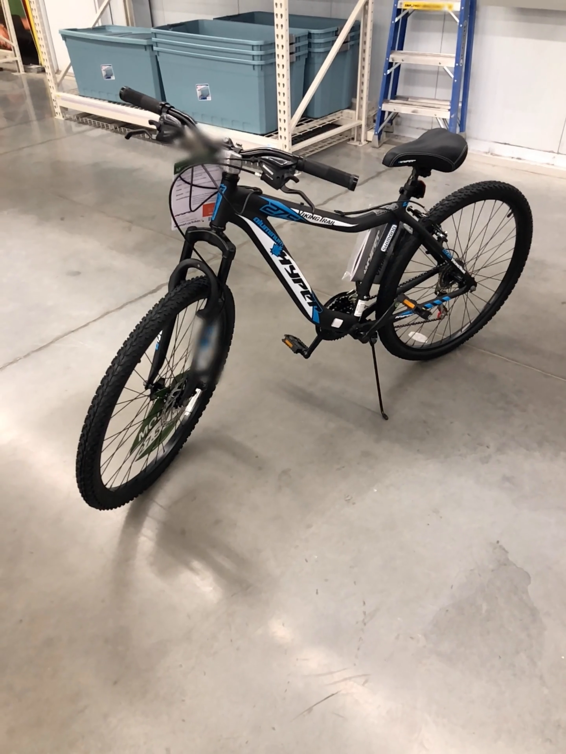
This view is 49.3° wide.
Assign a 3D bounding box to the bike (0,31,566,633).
[{"bbox_3d":[0.195,-0.265,1.721,1.636,0.986,0.574,-27,44,-29],"label":"bike"}]
